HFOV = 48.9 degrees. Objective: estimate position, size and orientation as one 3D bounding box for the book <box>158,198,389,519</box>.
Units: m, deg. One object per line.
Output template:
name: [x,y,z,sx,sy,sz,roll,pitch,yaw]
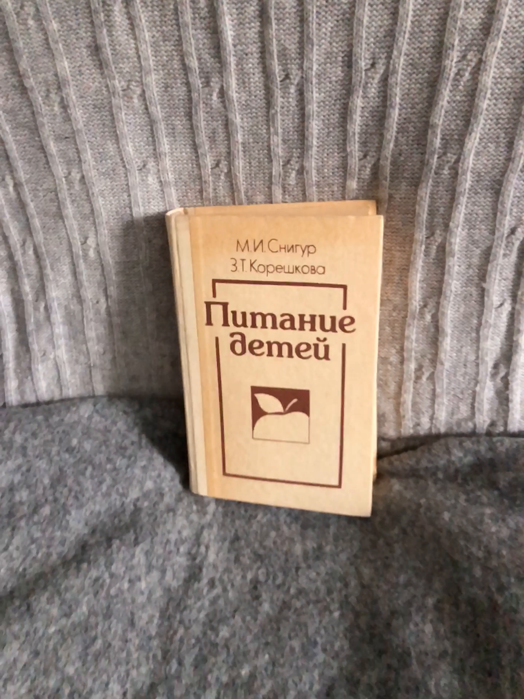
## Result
book: [0.013,0.009,0.397,0.139,0.212,0.042,1,20,12]
